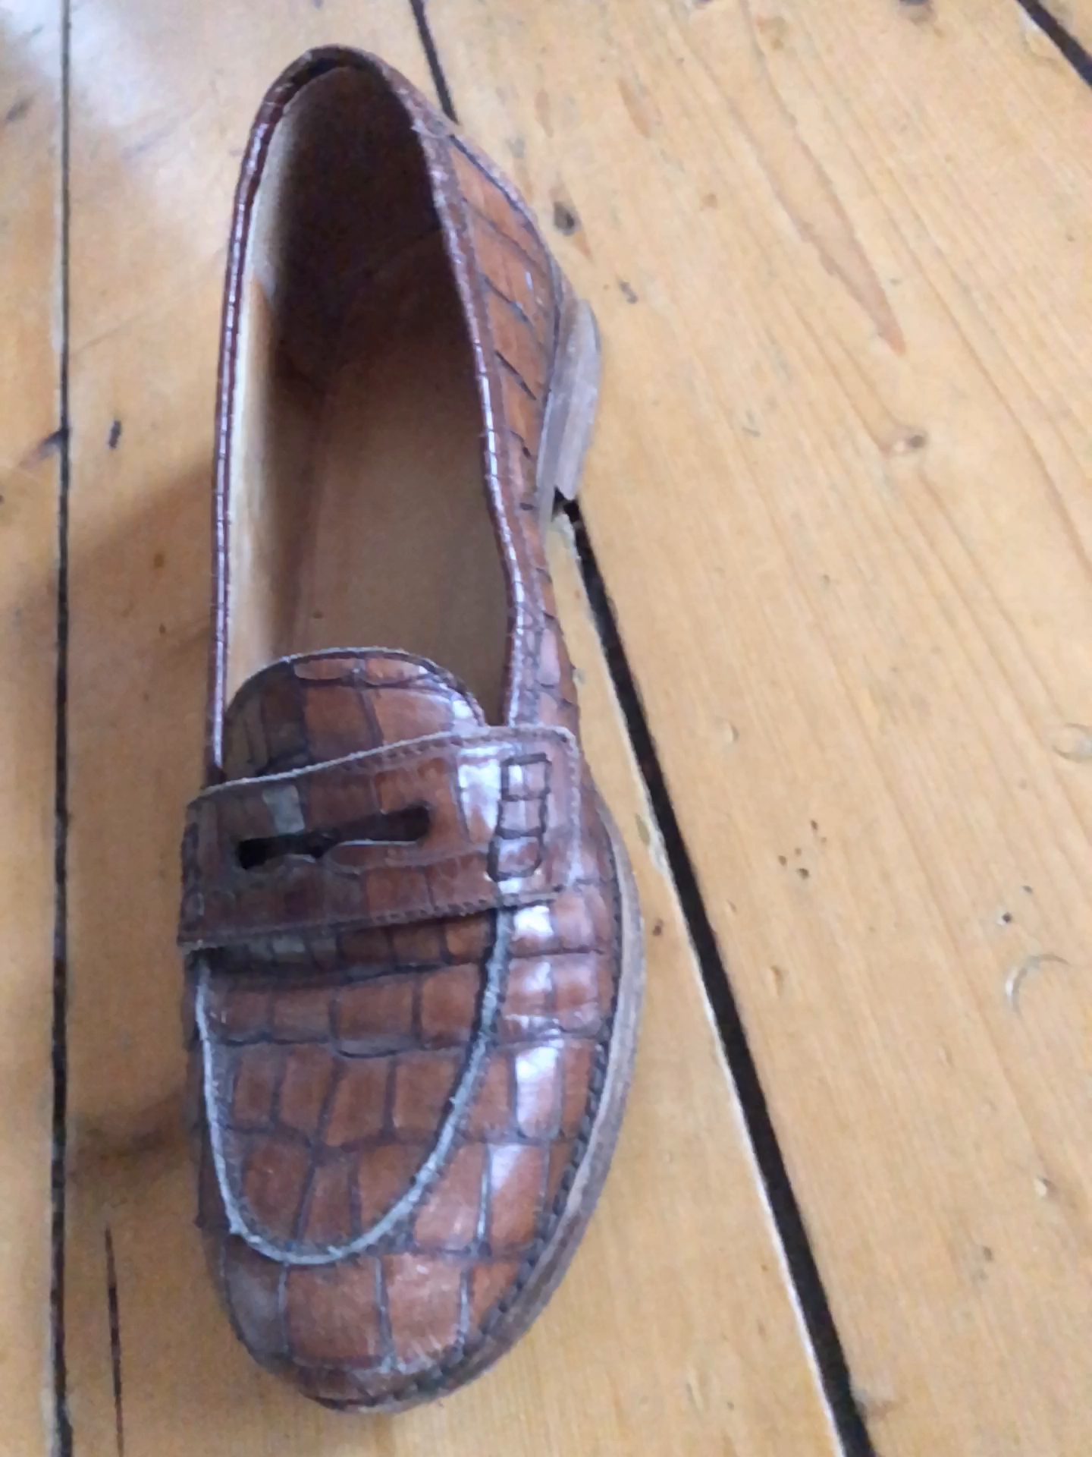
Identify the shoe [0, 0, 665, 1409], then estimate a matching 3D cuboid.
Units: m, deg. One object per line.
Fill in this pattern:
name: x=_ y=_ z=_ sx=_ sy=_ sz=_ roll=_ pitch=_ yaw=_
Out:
shoe: x=-0.034 y=-0.040 z=0.261 sx=0.080 sy=0.100 sz=0.321 roll=-11 pitch=60 yaw=22
